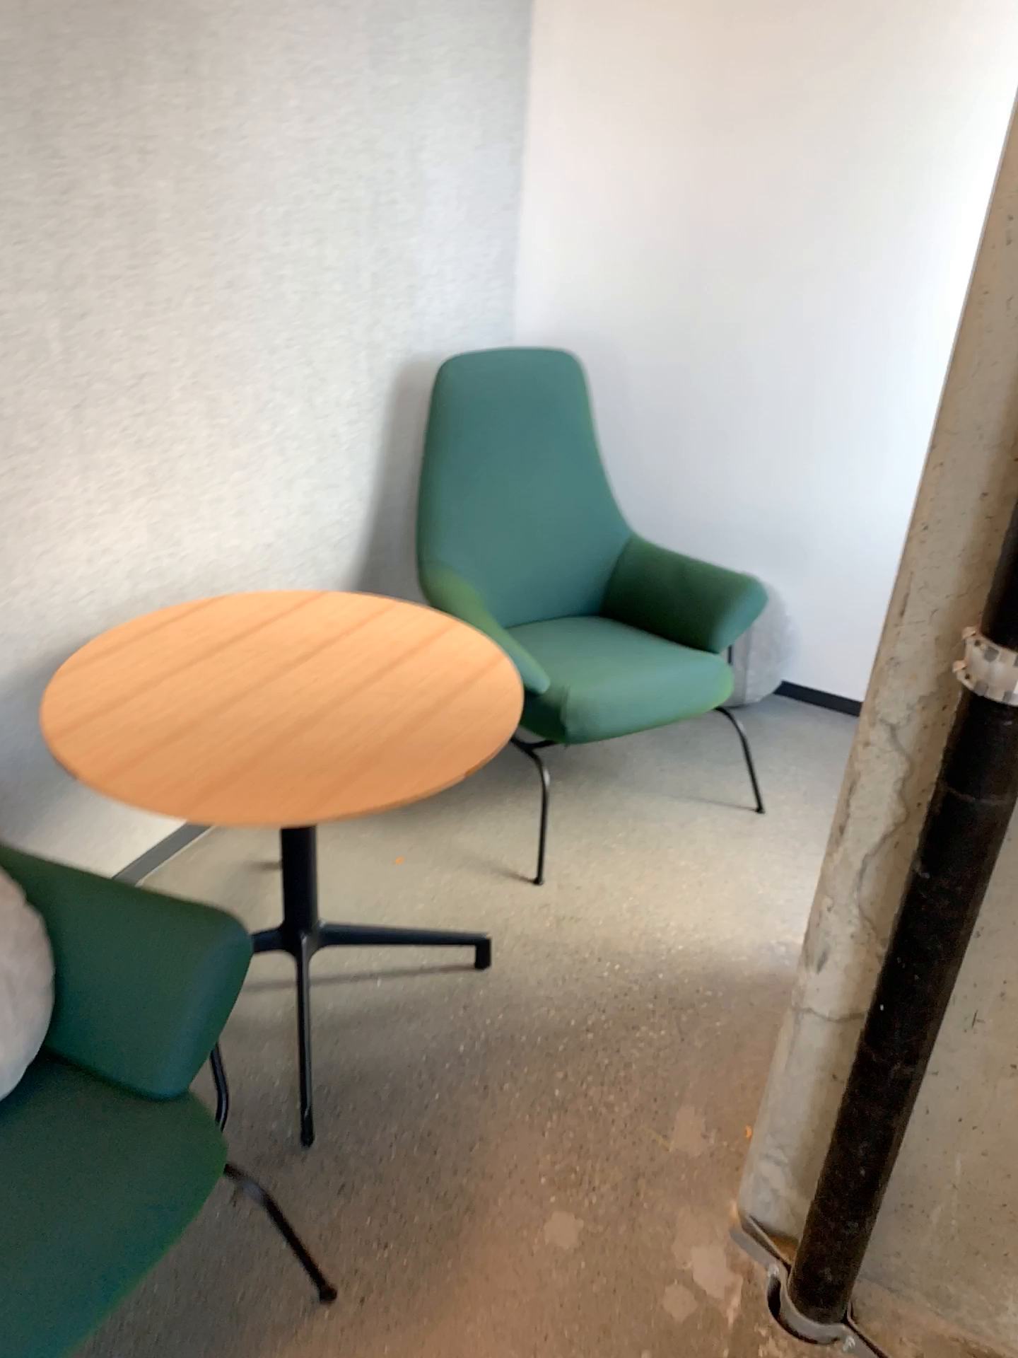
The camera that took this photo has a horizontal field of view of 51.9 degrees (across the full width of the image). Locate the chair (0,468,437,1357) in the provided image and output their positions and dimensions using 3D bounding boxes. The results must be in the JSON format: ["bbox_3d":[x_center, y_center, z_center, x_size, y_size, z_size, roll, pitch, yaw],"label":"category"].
[{"bbox_3d":[-0.691,0.433,1.264,0.852,1.034,0.833,19,31,25],"label":"chair"}]

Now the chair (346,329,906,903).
[{"bbox_3d":[0.177,-0.247,2.546,0.820,0.954,1.006,-12,32,-27],"label":"chair"}]
